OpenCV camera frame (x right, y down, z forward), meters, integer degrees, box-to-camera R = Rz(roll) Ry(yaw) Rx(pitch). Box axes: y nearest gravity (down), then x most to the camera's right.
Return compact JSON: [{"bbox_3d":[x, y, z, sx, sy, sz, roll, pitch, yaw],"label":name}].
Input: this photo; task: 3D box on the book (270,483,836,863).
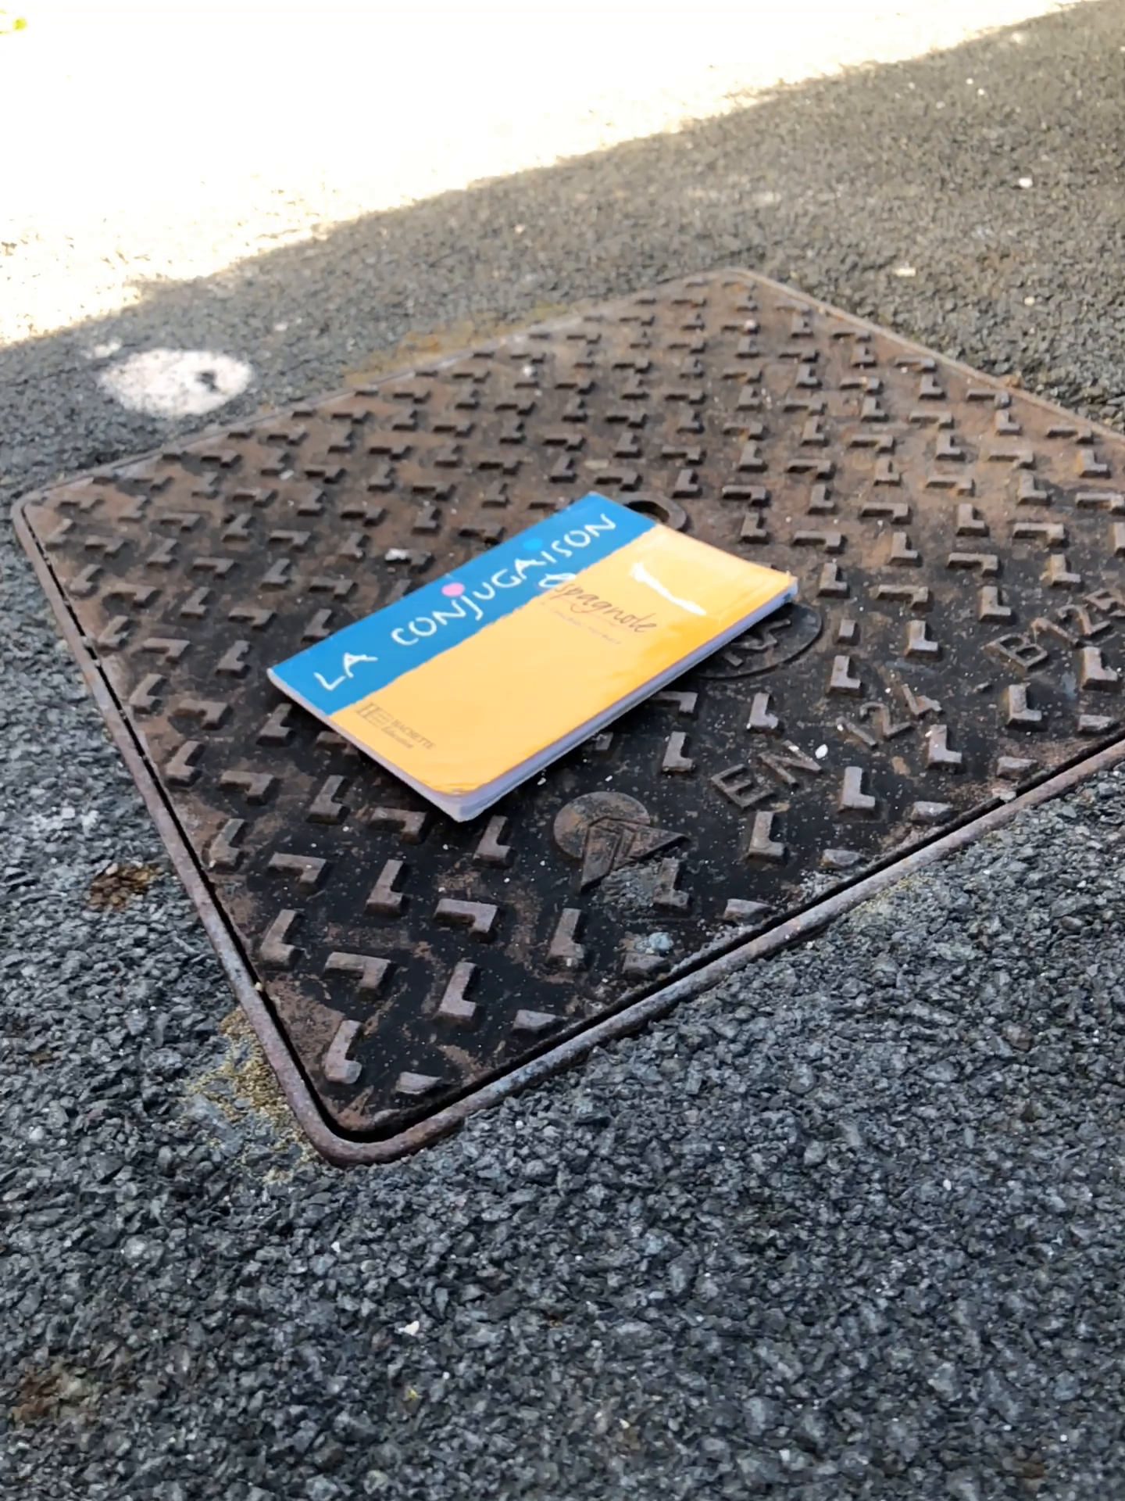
[{"bbox_3d":[-0.003,-0.044,0.514,0.188,0.017,0.140,-34,47,-28],"label":"book"}]
